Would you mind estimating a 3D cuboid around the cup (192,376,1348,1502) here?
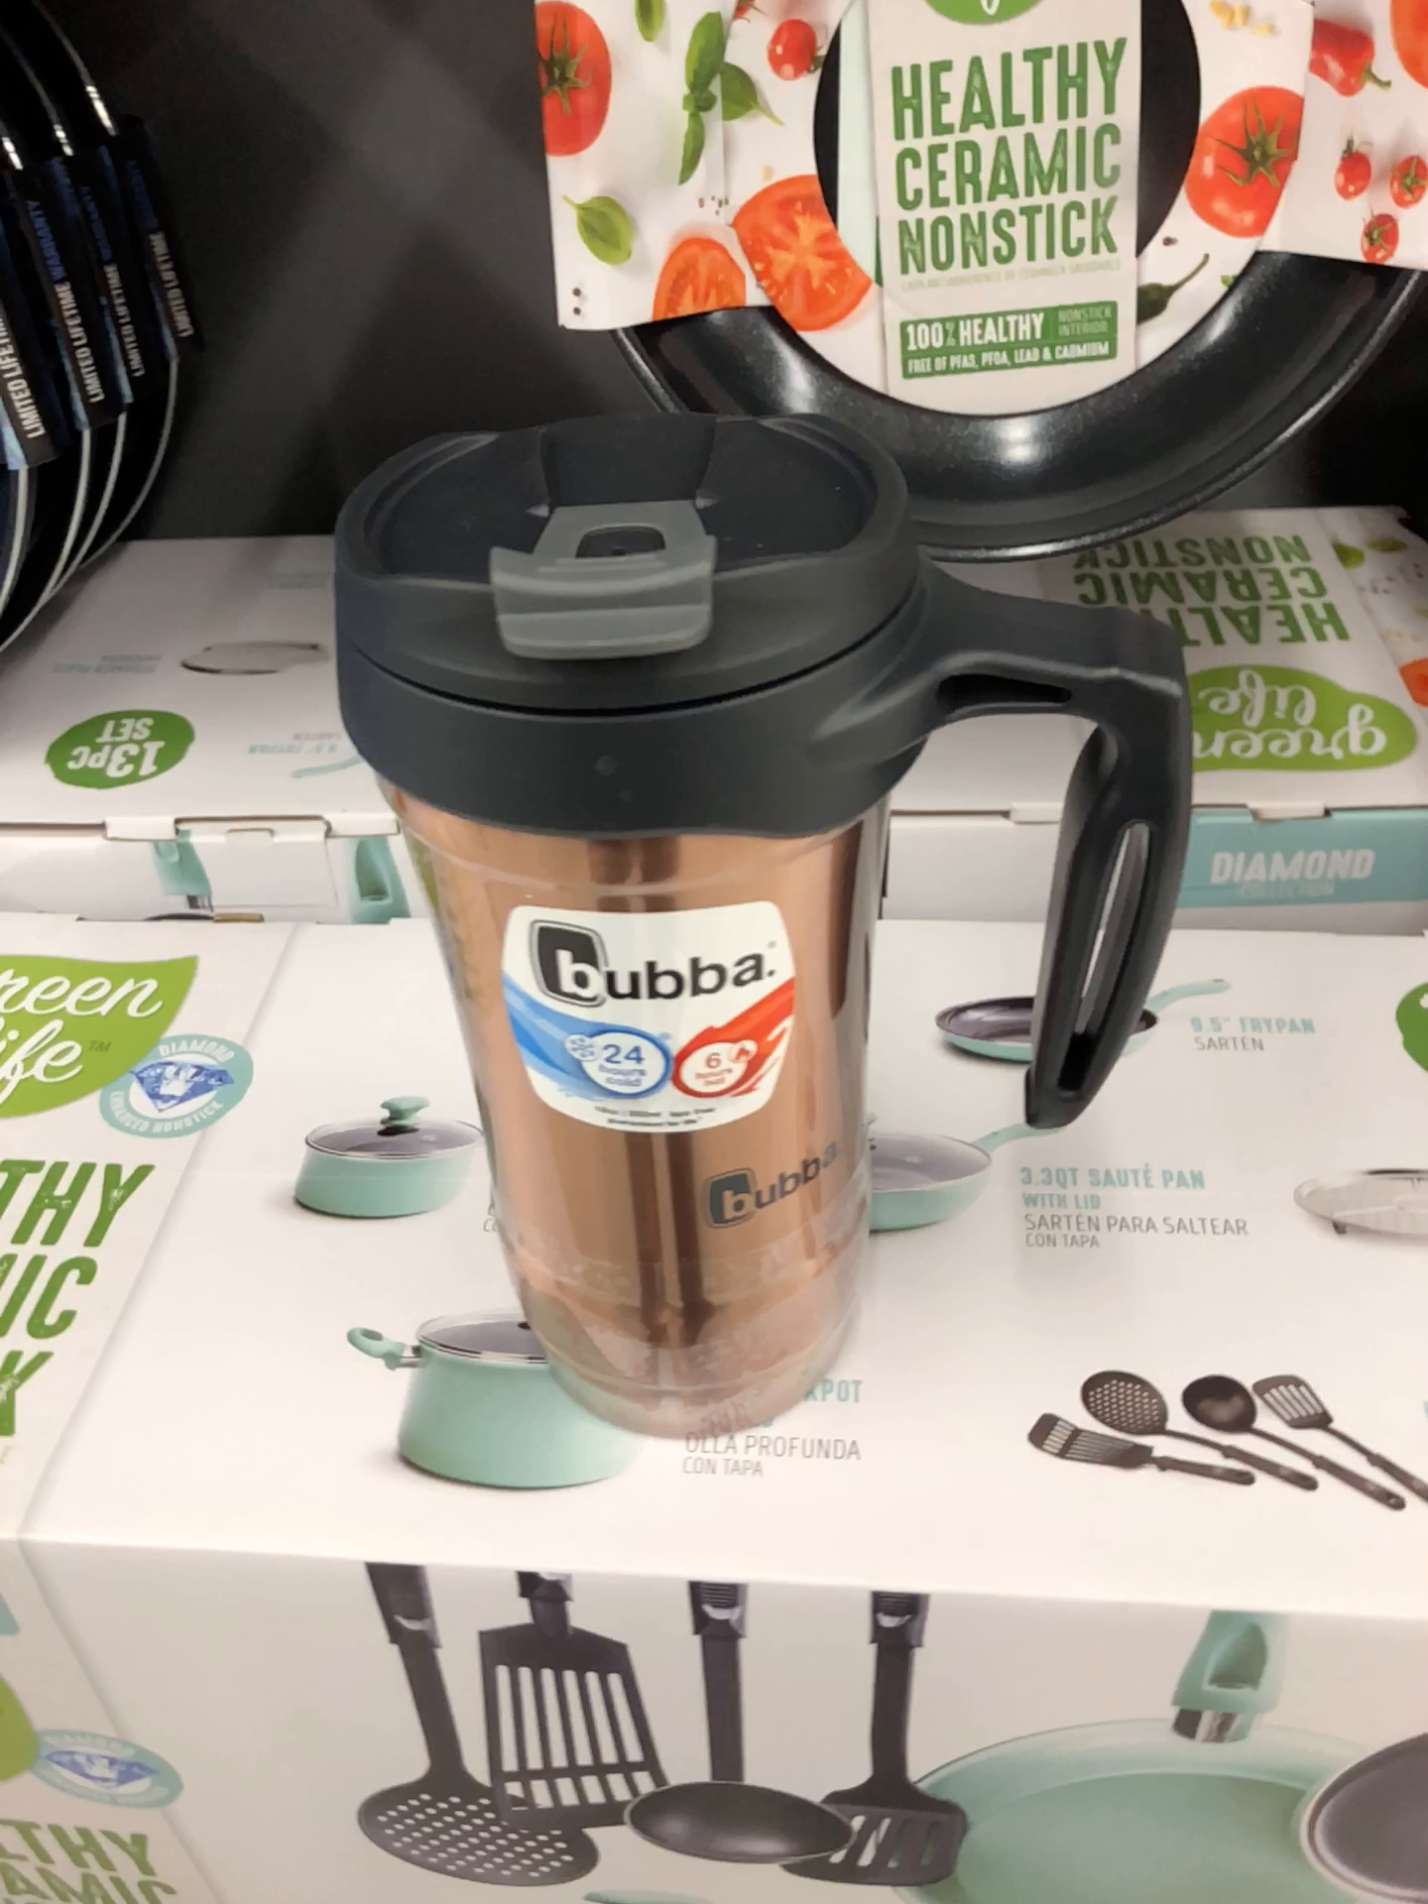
[{"bbox_3d":[0.014,0.005,0.290,0.143,0.182,0.094,1,40,7],"label":"cup"}]
